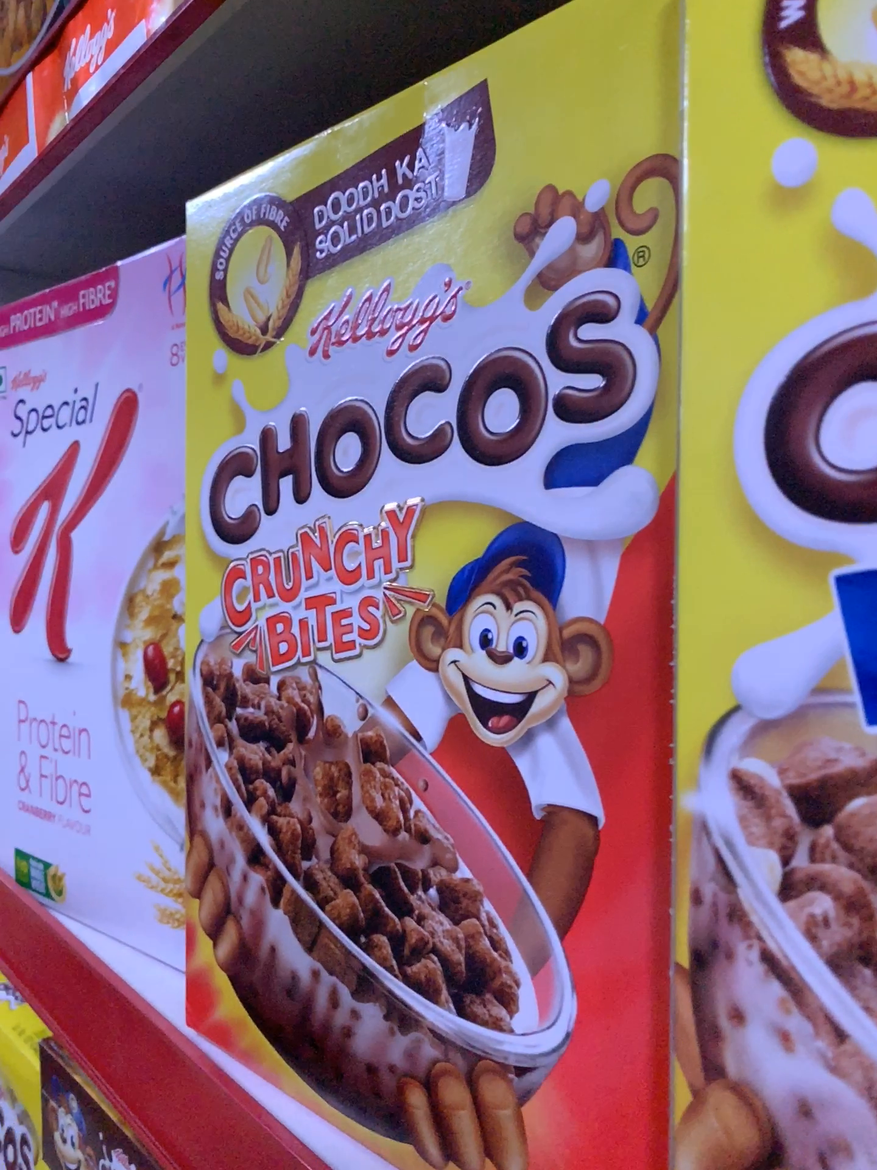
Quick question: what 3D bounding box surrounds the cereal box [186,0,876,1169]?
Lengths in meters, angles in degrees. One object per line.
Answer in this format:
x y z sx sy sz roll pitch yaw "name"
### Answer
0.024 0.007 0.241 0.190 0.260 0.080 0 -1 42 "cereal box"
